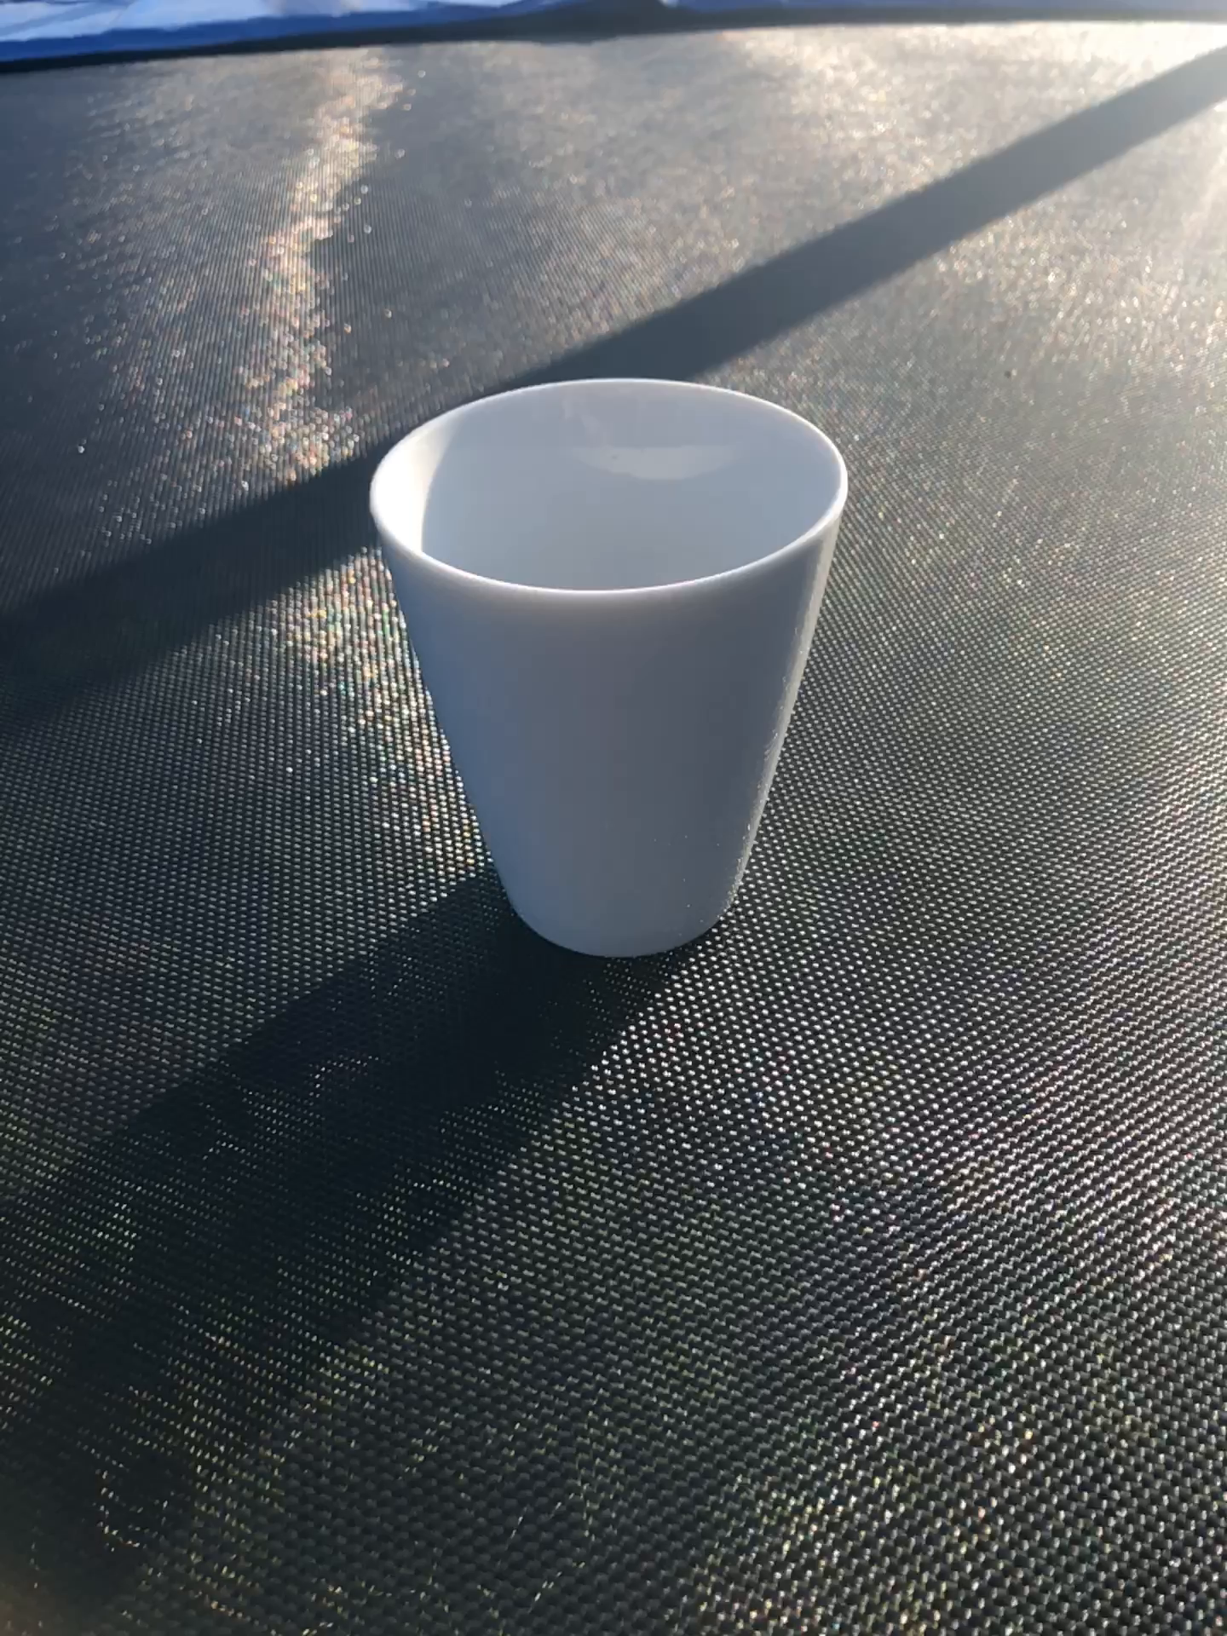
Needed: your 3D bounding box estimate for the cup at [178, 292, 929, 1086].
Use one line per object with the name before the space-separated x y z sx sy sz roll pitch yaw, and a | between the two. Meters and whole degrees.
cup | 0.000 -0.036 0.283 0.097 0.094 0.130 12 43 18
